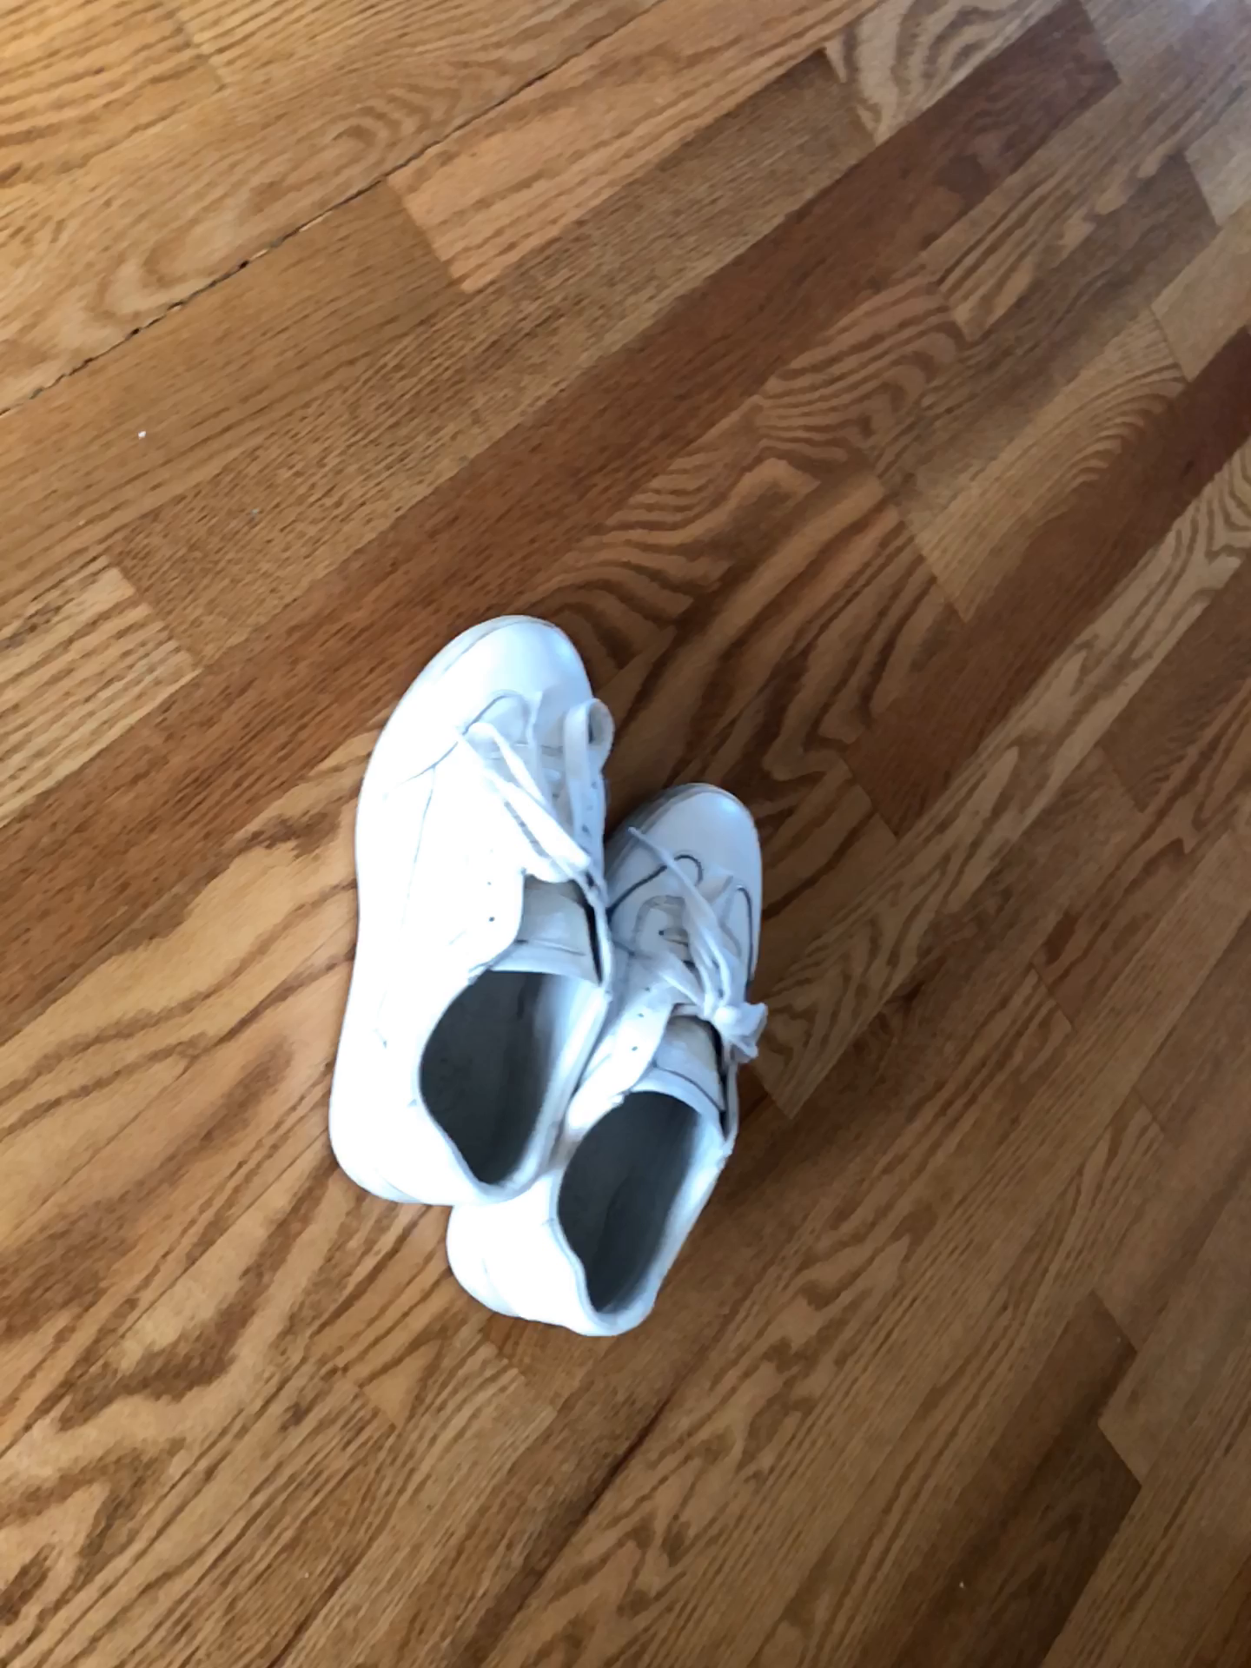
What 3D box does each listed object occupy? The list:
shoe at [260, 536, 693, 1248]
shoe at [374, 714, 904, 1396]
[{"bbox_3d":[-0.062,0.026,0.572,0.103,0.104,0.260,14,81,-30],"label":"shoe"},{"bbox_3d":[0.009,0.090,0.610,0.103,0.106,0.260,33,71,-26],"label":"shoe"}]
